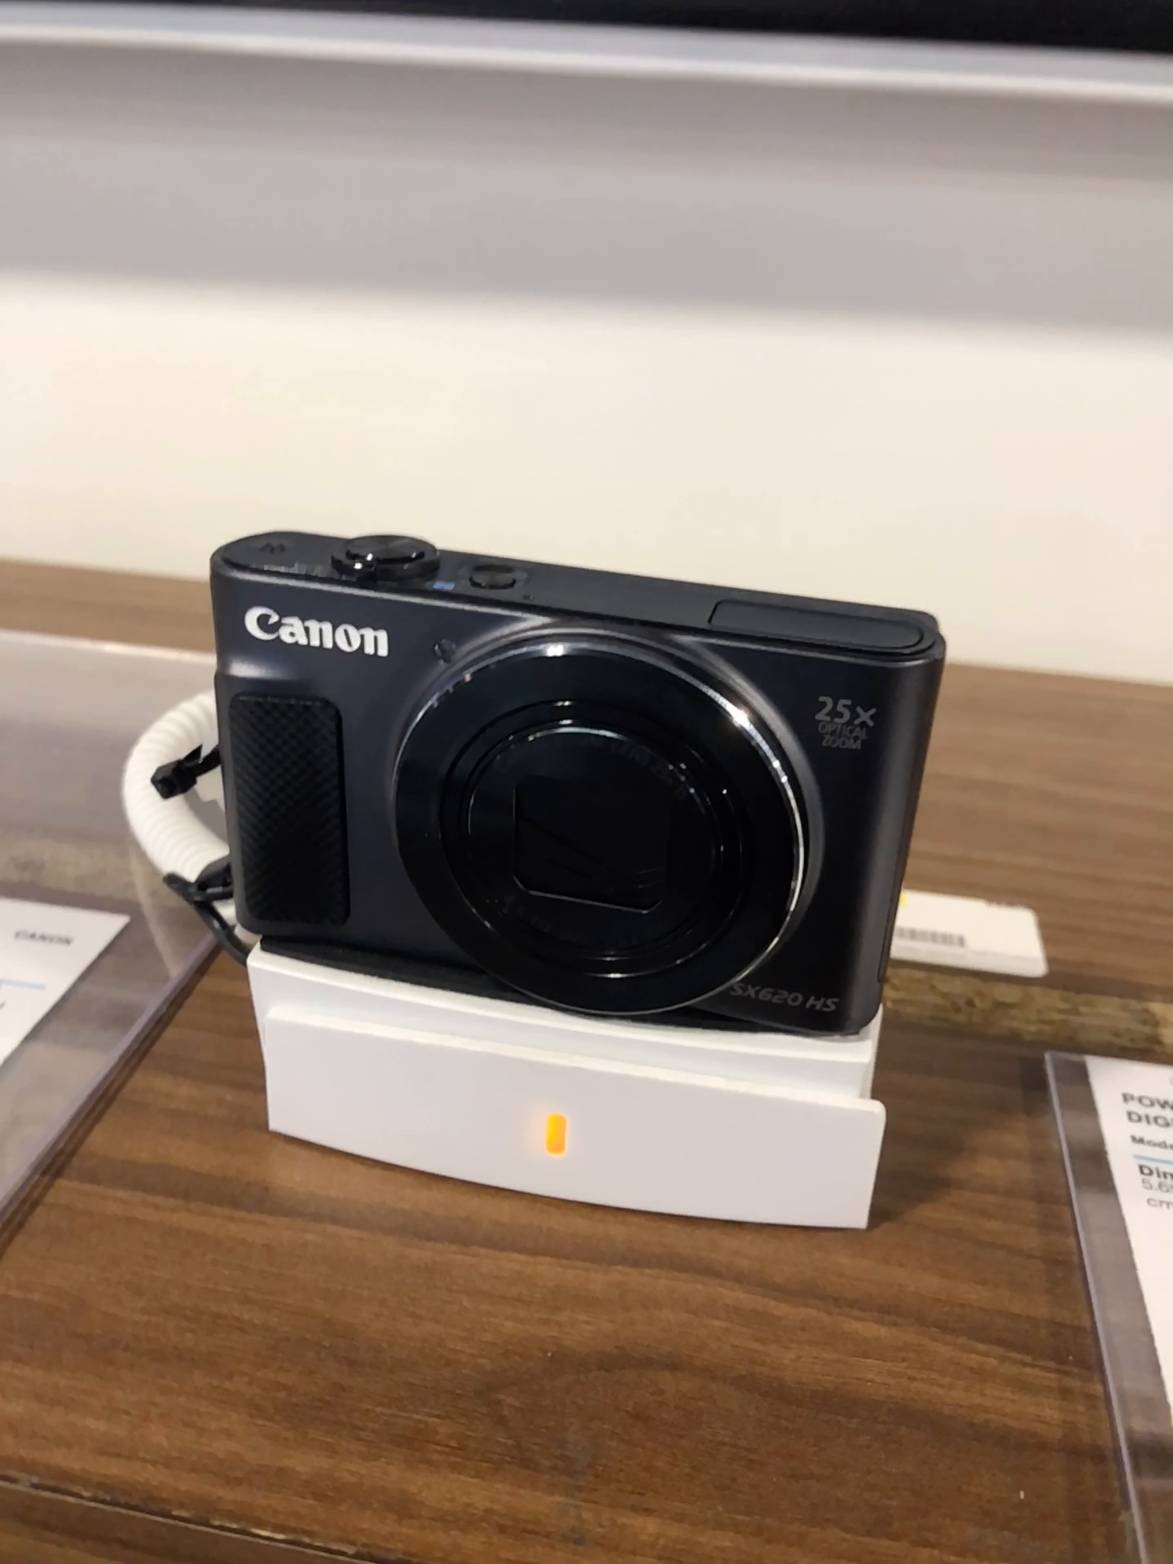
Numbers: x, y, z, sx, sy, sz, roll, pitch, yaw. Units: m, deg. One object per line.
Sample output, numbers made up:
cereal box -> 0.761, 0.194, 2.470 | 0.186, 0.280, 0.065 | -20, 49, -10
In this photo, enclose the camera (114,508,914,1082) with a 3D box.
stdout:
camera -> -0.010, 0.000, 0.185 | 0.100, 0.060, 0.030 | 8, 25, 10
